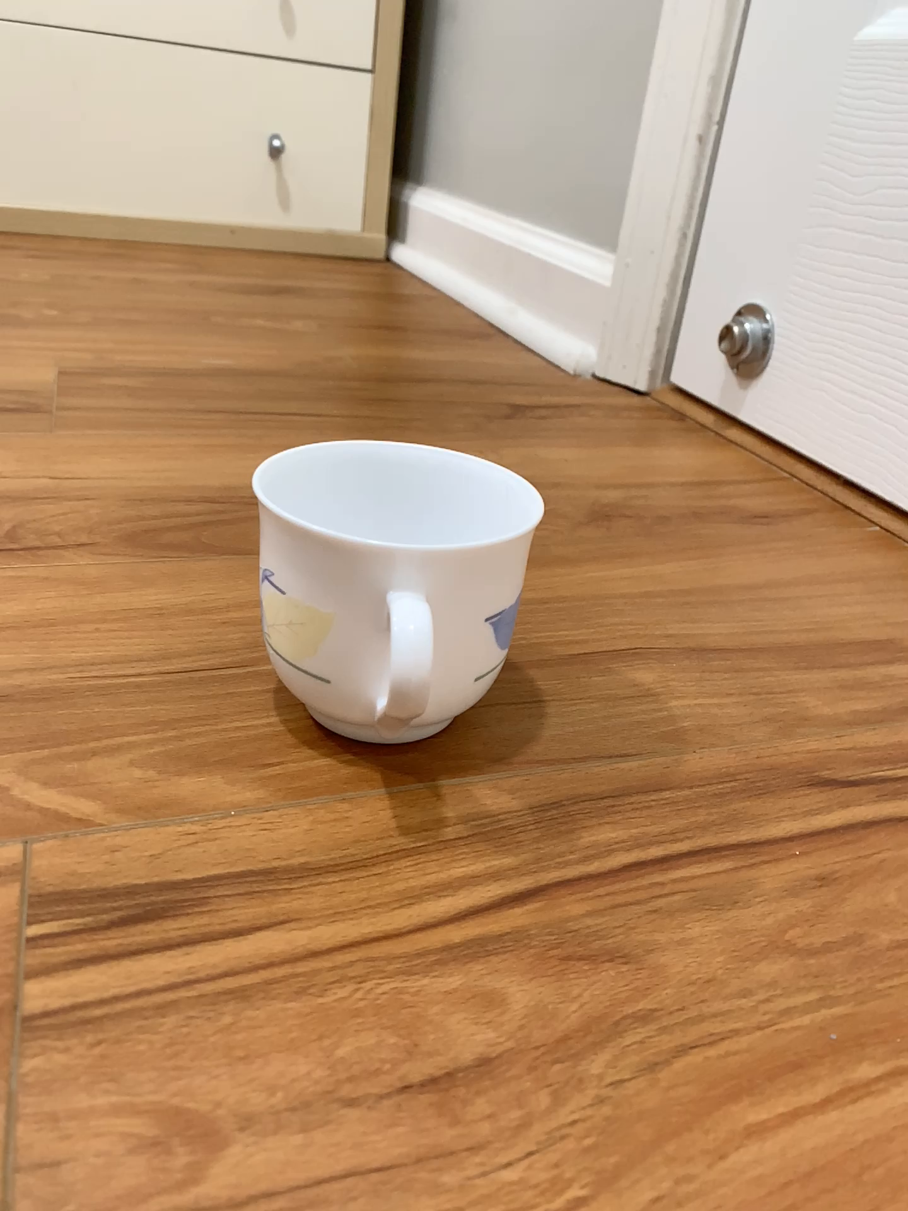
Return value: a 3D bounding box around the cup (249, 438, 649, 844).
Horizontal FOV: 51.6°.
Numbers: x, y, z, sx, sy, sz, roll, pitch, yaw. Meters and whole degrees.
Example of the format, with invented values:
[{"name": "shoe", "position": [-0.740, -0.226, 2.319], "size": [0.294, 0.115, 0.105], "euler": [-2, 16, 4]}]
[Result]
[{"name": "cup", "position": [-0.012, 0.002, 0.258], "size": [0.083, 0.063, 0.104], "euler": [0, 28, -14]}]
